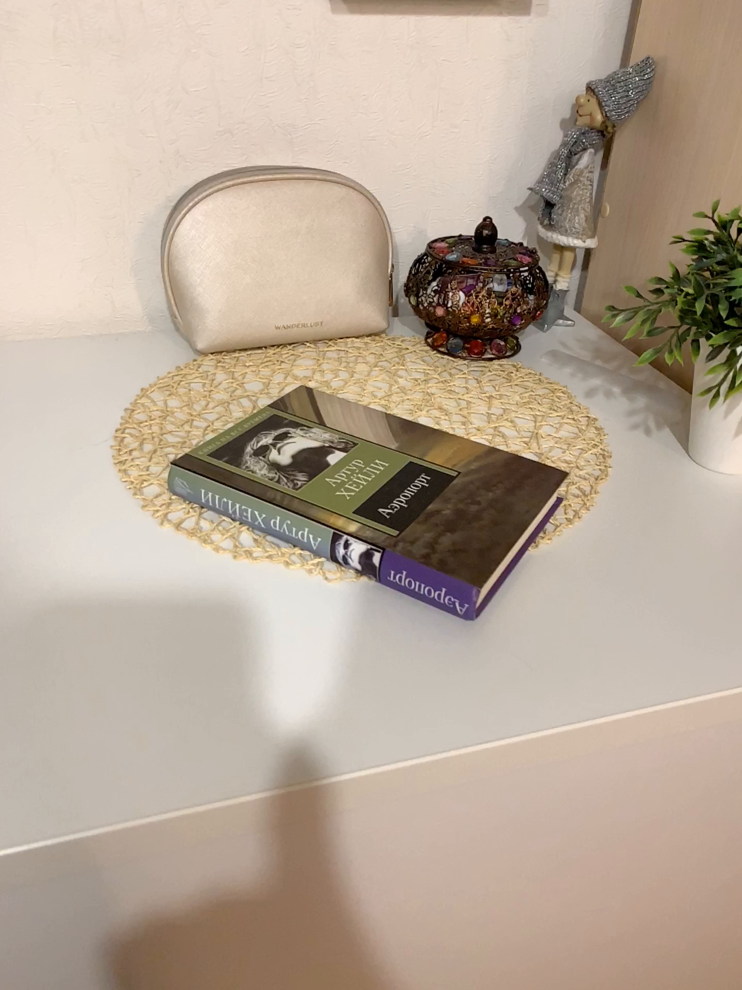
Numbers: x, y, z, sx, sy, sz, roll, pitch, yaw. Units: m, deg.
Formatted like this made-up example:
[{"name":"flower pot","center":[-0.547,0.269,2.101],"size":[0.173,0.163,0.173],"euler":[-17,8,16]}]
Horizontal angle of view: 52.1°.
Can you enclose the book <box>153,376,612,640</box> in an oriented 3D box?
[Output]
[{"name":"book","center":[0.008,-0.009,0.459],"size":[0.231,0.020,0.151],"euler":[20,37,25]}]
